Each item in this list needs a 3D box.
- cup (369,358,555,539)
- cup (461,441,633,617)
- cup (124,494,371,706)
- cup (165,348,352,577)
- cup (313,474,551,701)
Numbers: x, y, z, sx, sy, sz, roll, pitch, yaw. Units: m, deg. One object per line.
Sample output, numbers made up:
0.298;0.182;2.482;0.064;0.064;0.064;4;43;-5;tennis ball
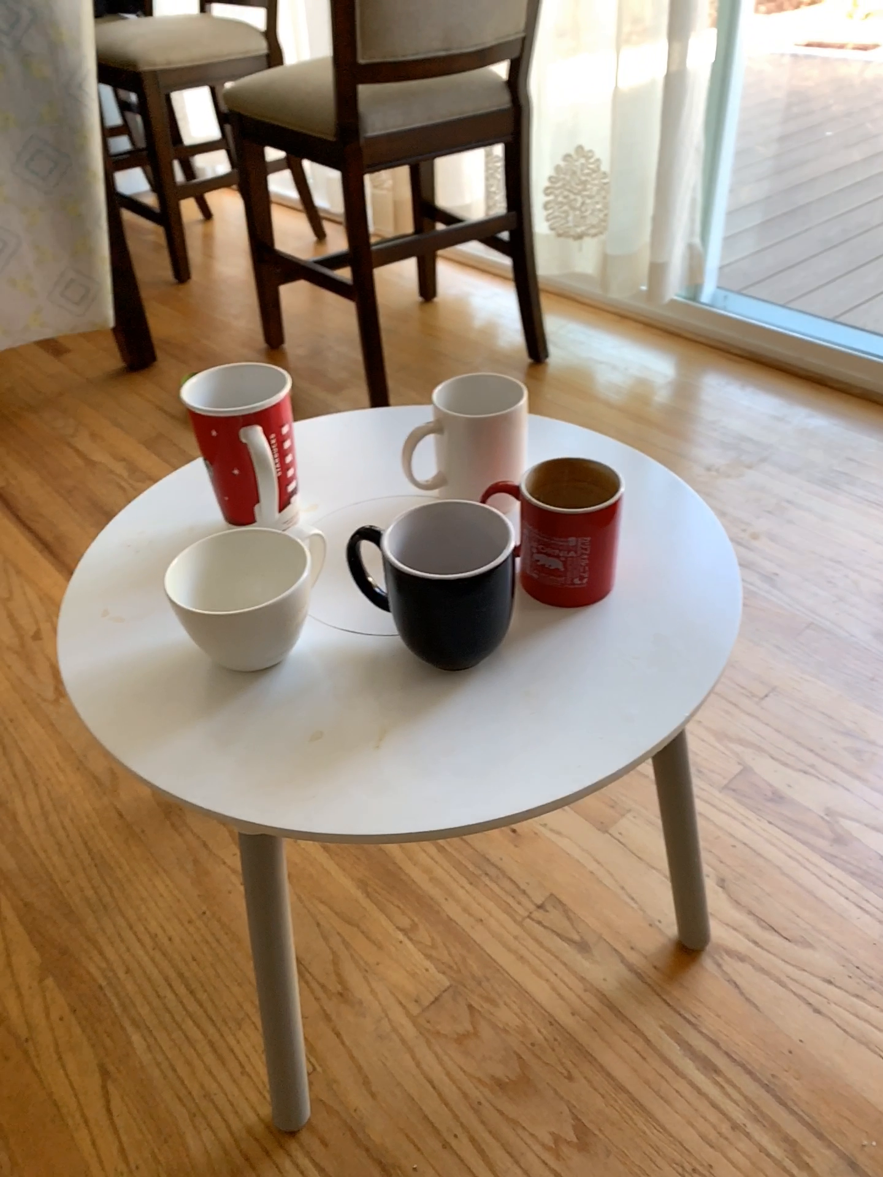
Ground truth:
0.018;-0.124;0.789;0.120;0.090;0.101;-24;44;-24;cup
0.083;-0.048;0.717;0.120;0.099;0.080;6;40;11;cup
-0.139;0.003;0.669;0.110;0.060;0.130;28;48;32;cup
-0.157;-0.112;0.786;0.100;0.129;0.131;-21;42;-21;cup
-0.006;-0.006;0.652;0.131;0.080;0.100;27;48;32;cup
